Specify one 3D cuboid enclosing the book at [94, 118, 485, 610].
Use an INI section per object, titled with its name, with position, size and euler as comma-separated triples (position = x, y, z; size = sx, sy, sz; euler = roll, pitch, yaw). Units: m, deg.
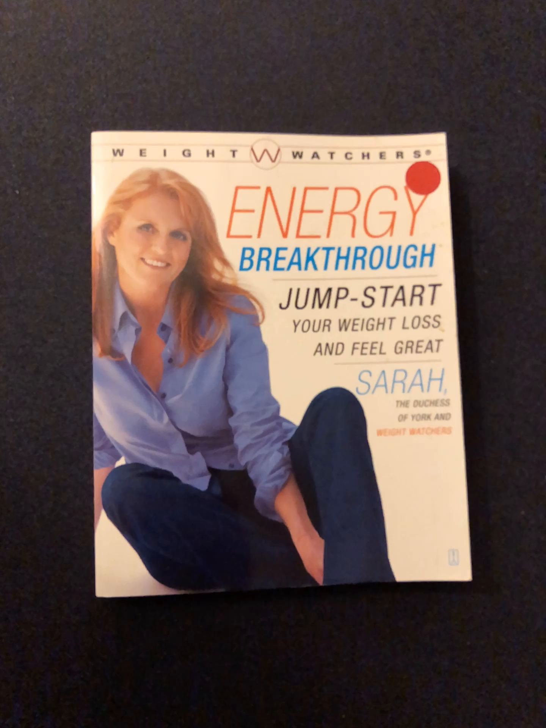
[book]
position = 0.006, -0.005, 0.313
size = 0.185, 0.030, 0.234
euler = -1, 85, -6
